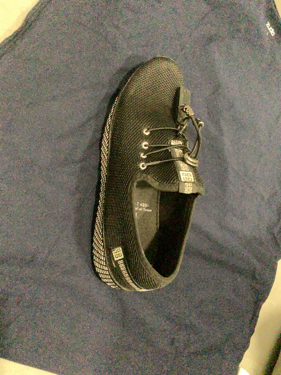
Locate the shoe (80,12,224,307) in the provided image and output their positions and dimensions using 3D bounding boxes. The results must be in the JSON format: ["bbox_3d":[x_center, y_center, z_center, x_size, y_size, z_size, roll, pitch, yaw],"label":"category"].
[{"bbox_3d":[0.014,-0.025,0.339,0.100,0.090,0.290,12,83,-29],"label":"shoe"}]
